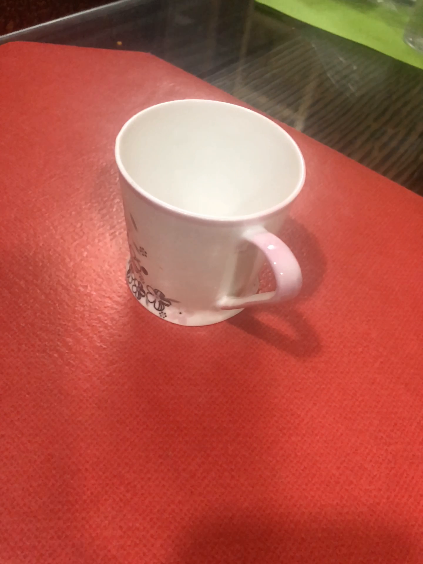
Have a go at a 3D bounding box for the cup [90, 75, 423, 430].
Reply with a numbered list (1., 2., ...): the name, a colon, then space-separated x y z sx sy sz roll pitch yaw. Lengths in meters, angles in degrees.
1. cup: 0.010 -0.015 0.194 0.070 0.080 0.100 -28 60 -28
